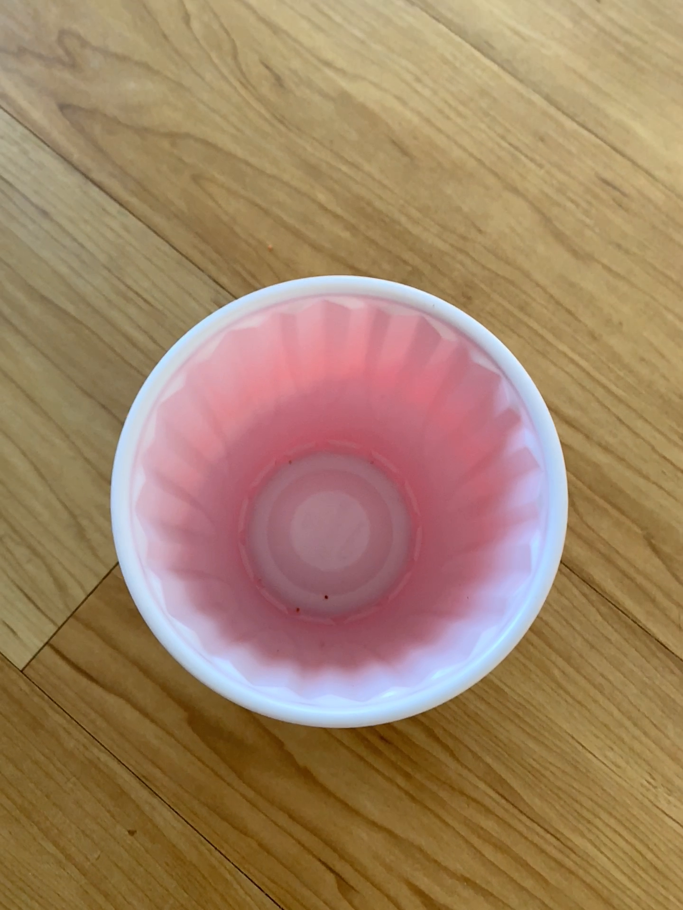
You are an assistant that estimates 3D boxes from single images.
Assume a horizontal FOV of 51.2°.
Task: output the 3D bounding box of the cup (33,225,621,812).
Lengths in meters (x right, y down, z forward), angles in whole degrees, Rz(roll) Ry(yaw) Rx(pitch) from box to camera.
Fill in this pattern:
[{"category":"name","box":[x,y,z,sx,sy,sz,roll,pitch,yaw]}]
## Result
[{"category":"cup","box":[-0.006,0.016,0.190,0.100,0.090,0.100,0,79,-2]}]
